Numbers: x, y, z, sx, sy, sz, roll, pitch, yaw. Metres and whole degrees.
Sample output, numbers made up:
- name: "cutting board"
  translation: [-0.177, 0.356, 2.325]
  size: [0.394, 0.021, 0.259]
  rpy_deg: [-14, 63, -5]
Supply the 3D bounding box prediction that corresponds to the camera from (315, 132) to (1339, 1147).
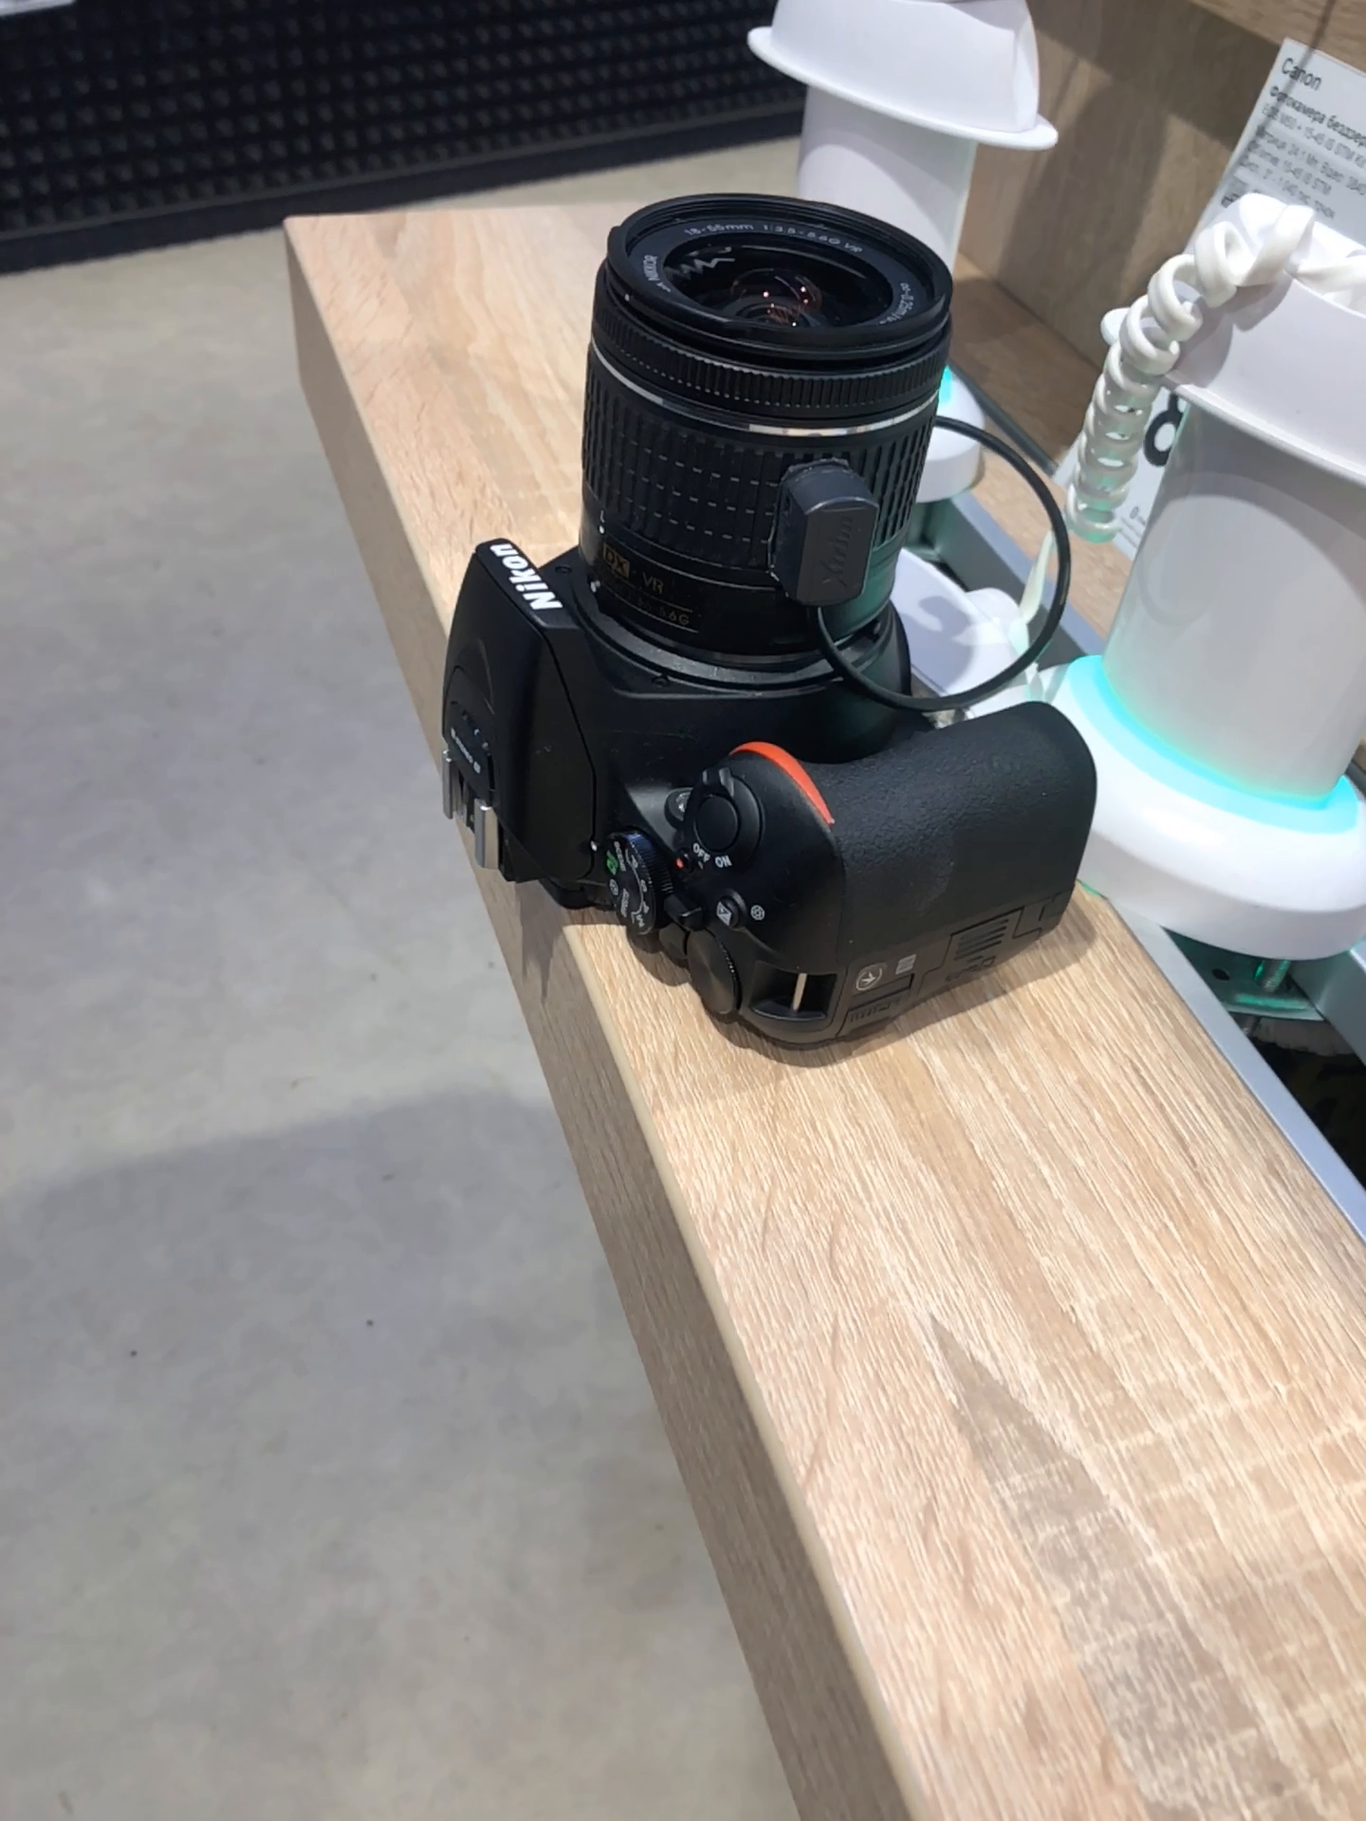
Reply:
- name: "camera"
  translation: [0.015, -0.060, 0.291]
  size: [0.115, 0.117, 0.132]
  rpy_deg: [-21, 50, -25]
